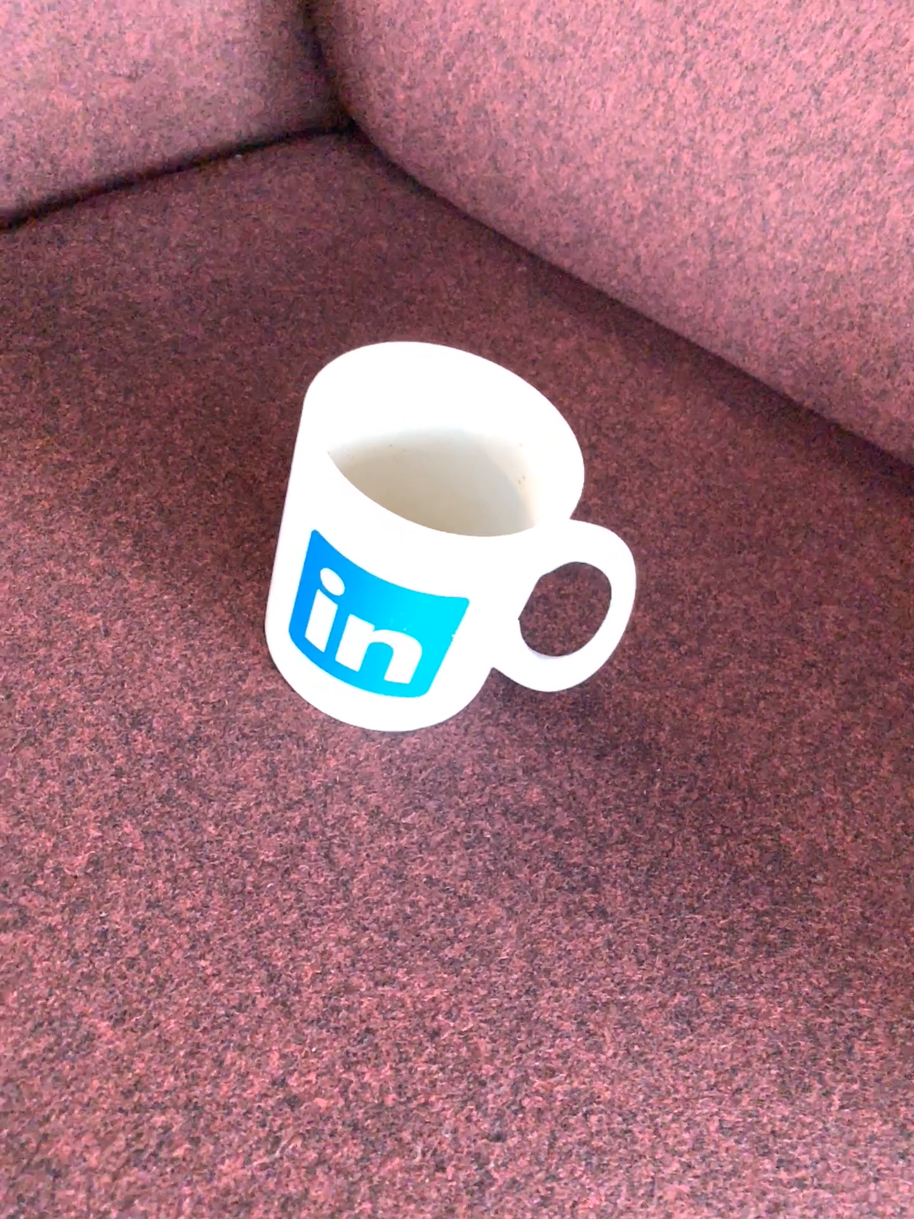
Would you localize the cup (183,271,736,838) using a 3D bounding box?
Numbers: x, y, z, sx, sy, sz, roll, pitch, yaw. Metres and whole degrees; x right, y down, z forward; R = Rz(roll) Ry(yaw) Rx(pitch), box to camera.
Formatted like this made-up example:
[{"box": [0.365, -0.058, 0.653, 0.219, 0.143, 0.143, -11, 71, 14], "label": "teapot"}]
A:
[{"box": [-0.003, -0.018, 0.282, 0.120, 0.089, 0.090, 30, 49, 9], "label": "cup"}]
